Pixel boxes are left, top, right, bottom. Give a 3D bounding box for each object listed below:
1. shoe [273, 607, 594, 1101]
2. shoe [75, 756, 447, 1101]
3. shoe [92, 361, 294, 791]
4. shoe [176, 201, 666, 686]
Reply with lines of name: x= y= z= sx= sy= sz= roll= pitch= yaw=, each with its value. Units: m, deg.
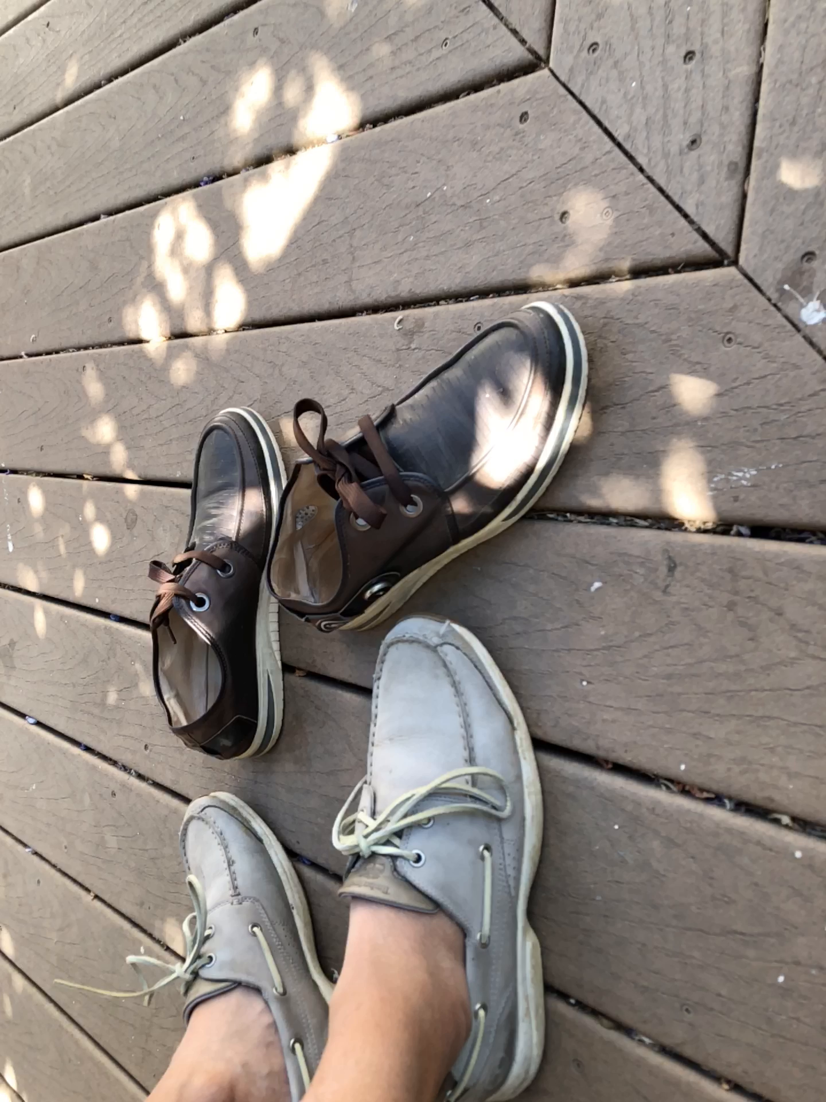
shoe: x=0.008 y=0.193 z=0.541 sx=0.111 sy=0.111 sz=0.303 roll=-15 pitch=78 yaw=42
shoe: x=-0.125 y=0.309 z=0.663 sx=0.304 sy=0.111 sz=0.110 roll=49 pitch=120 yaw=33
shoe: x=-0.174 y=0.020 z=0.716 sx=0.111 sy=0.111 sz=0.303 roll=-4 pitch=85 yaw=43
shoe: x=-0.013 y=-0.044 z=0.564 sx=0.304 sy=0.111 sz=0.110 roll=-44 pitch=60 yaw=33
